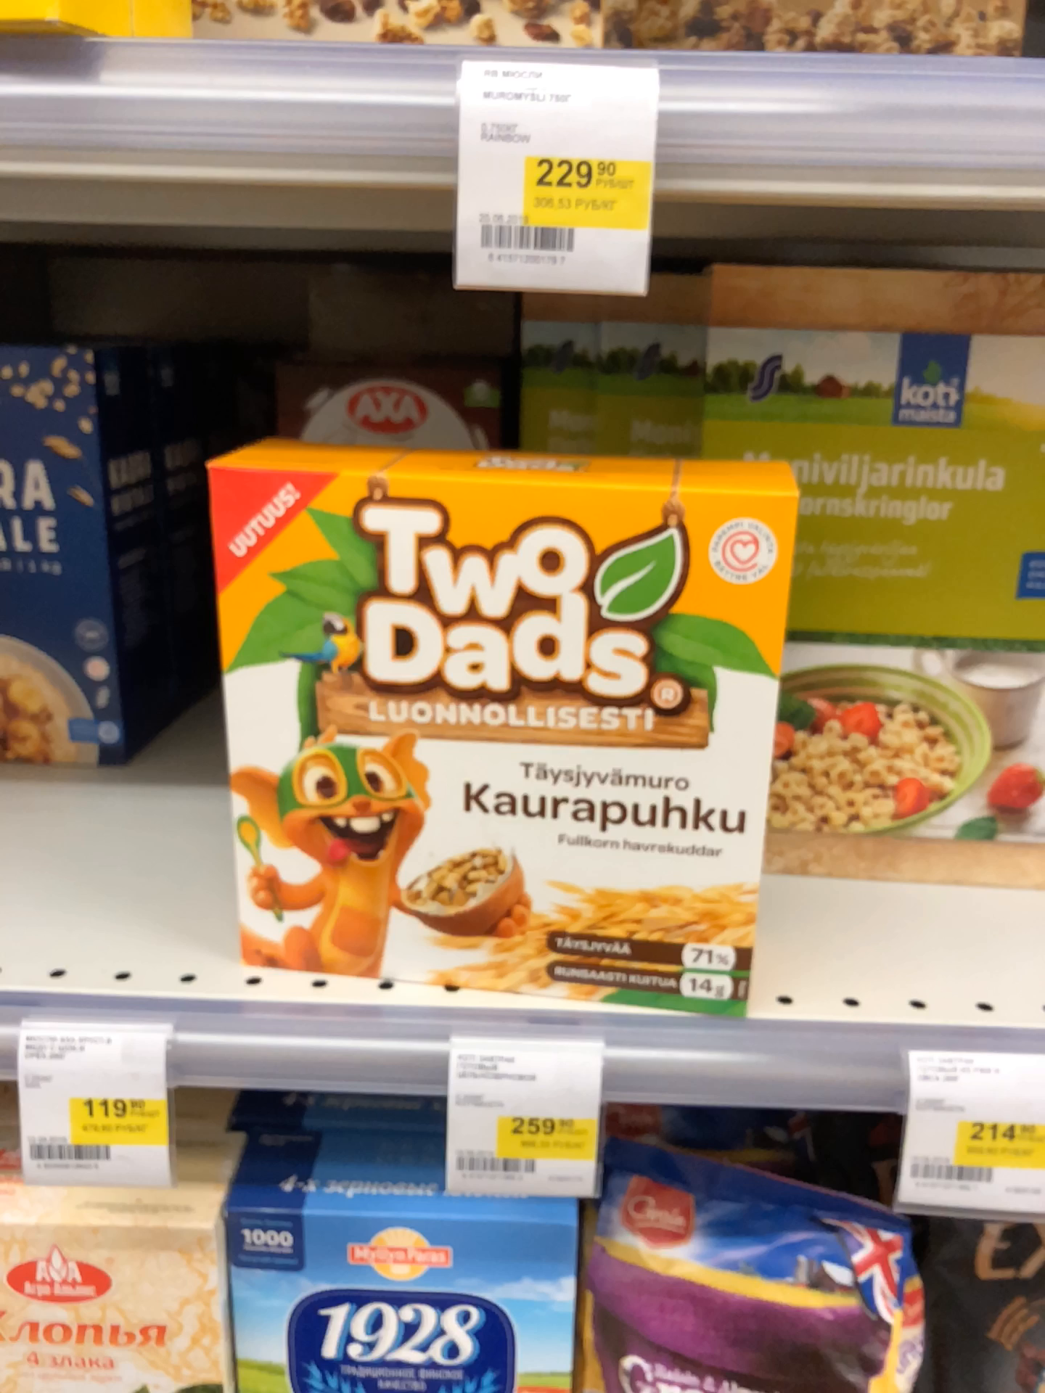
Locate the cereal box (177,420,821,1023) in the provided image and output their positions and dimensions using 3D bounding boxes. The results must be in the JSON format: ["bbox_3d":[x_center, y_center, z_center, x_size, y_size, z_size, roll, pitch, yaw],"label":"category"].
[{"bbox_3d":[-0.008,0.004,0.418,0.200,0.189,0.070,4,18,8],"label":"cereal box"}]
